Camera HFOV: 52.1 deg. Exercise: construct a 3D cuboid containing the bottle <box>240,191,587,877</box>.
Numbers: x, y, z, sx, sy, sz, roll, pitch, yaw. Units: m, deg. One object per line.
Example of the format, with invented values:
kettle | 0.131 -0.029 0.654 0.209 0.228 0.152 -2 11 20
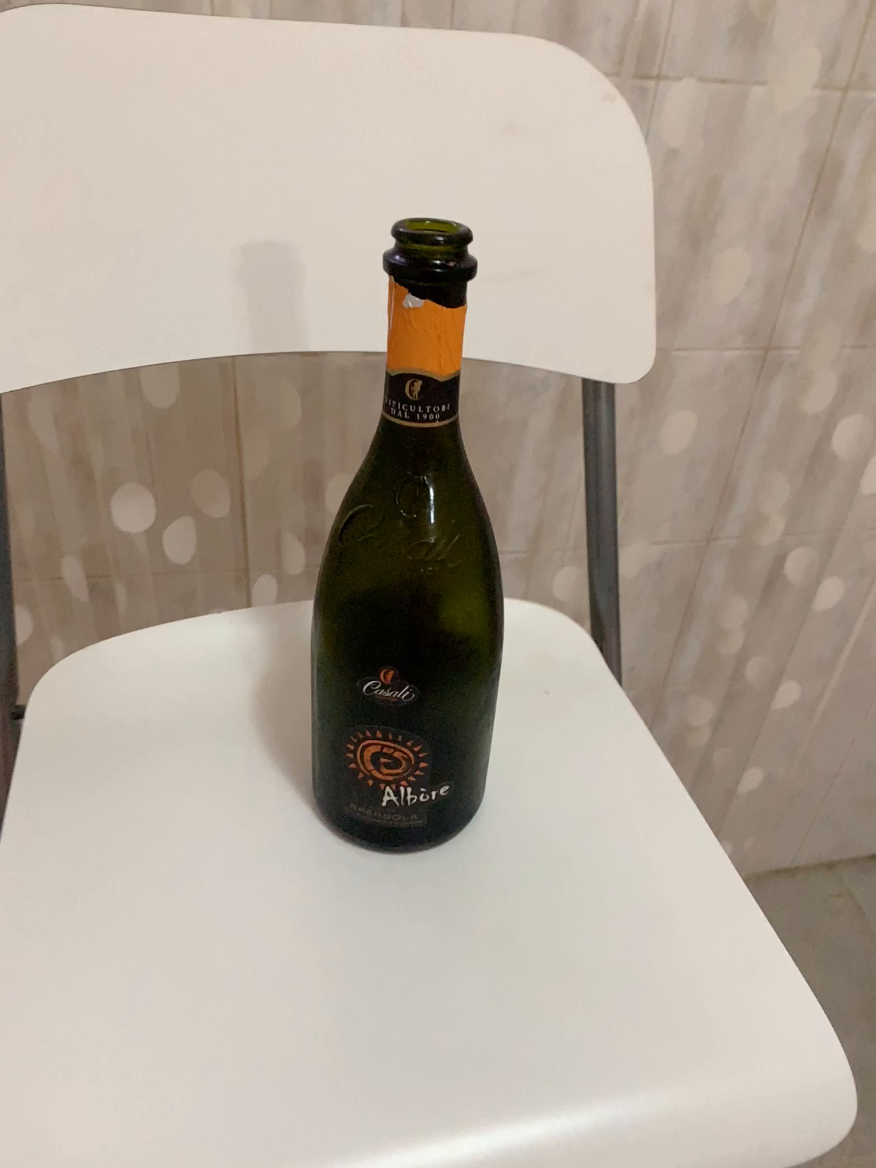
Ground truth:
bottle | -0.012 -0.006 0.377 0.101 0.268 0.093 4 37 -3
